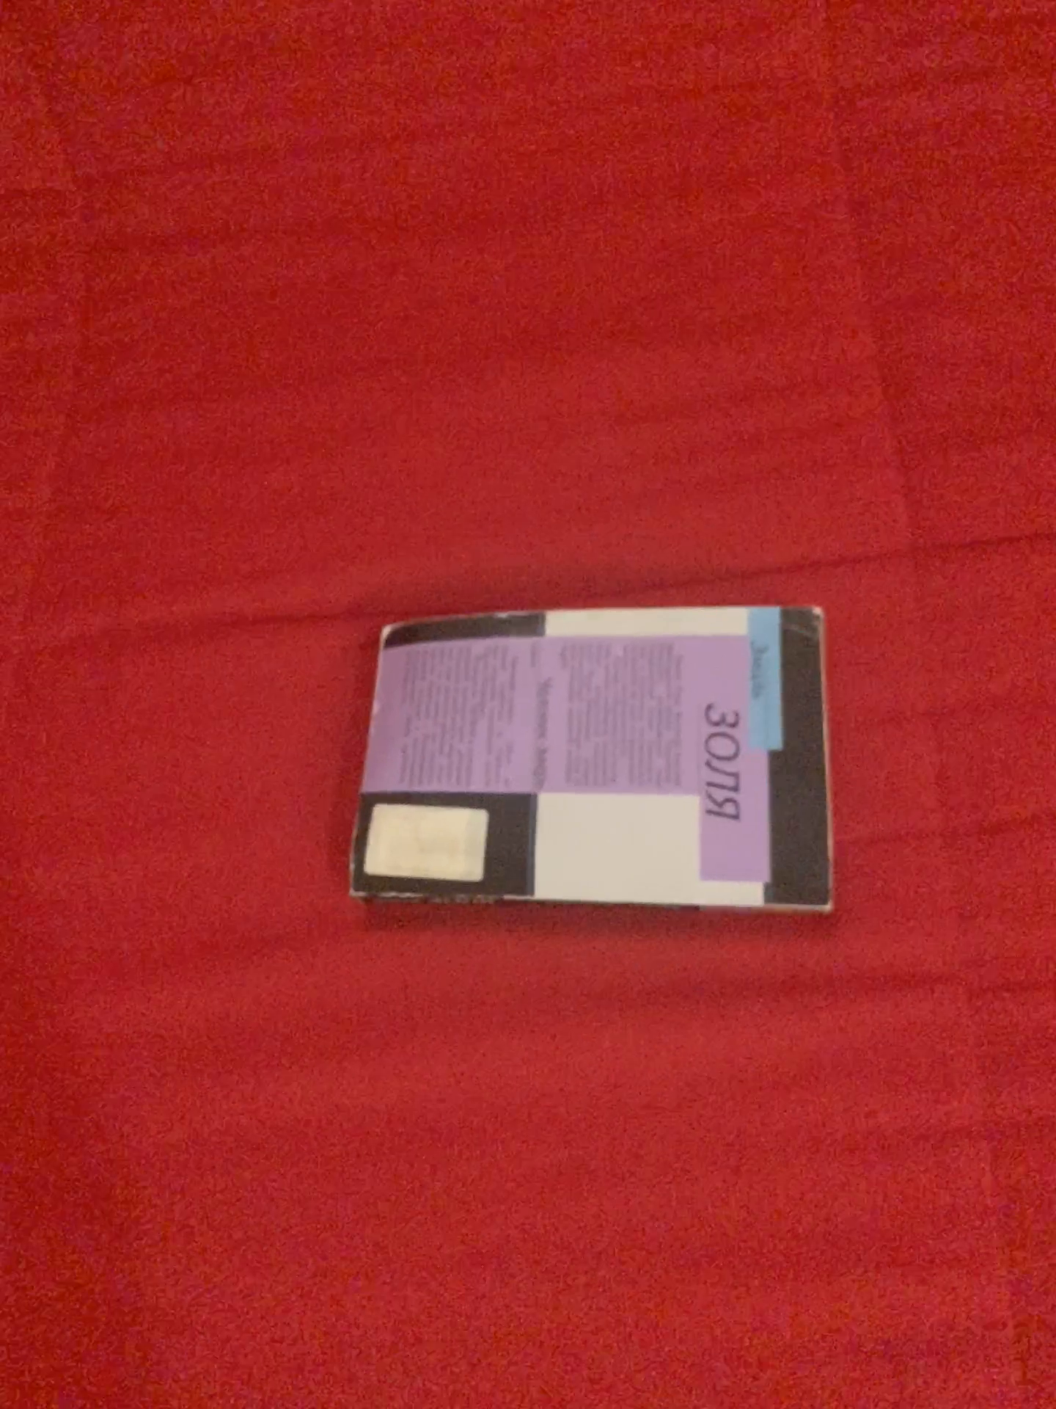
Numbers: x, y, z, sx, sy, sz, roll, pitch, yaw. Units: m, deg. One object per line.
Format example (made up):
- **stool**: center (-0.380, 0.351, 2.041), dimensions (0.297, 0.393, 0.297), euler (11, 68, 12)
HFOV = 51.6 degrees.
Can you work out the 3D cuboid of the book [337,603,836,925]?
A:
- **book**: center (0.022, 0.021, 0.404), dimensions (0.171, 0.034, 0.109), euler (0, 71, 11)
